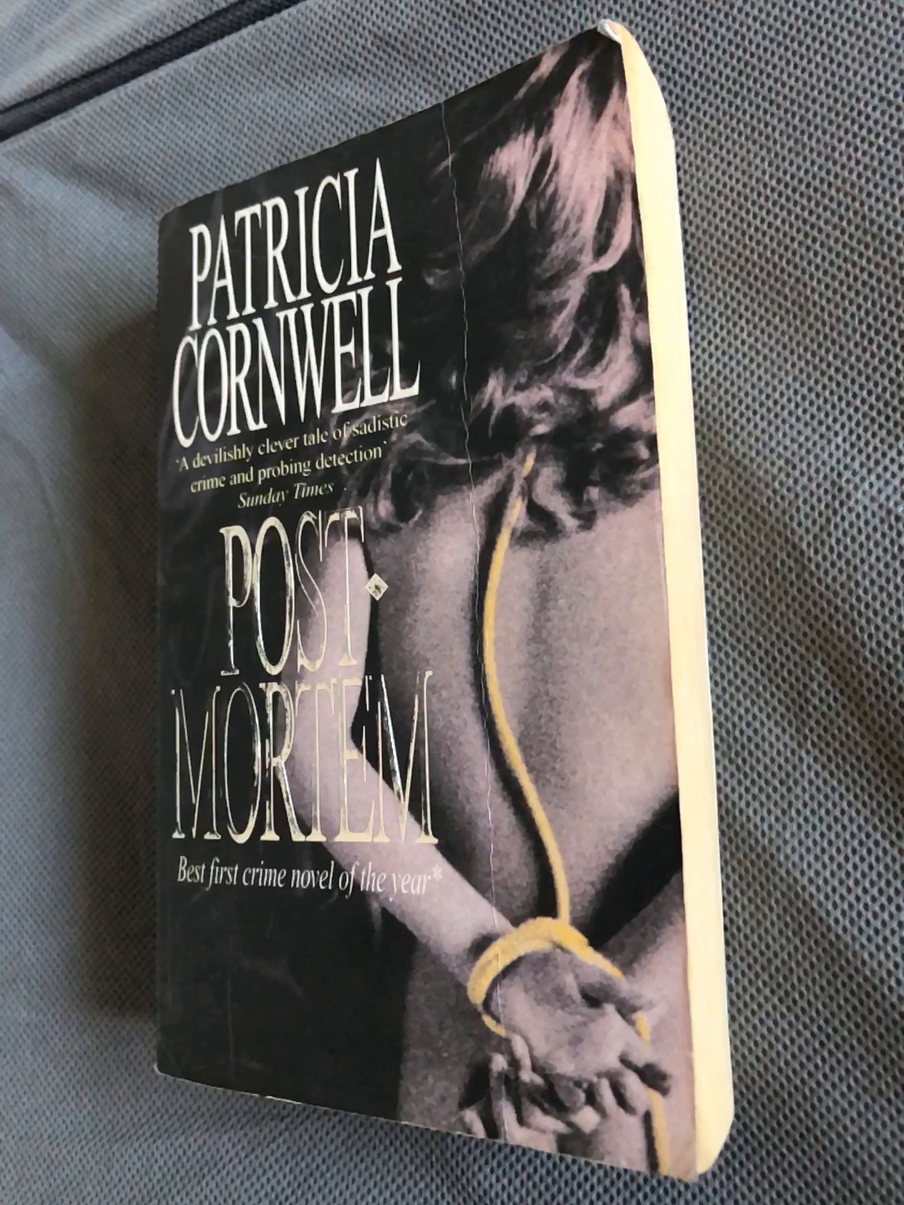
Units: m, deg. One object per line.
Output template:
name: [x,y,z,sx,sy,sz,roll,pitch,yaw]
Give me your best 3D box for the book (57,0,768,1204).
book: [-0.010,-0.005,0.185,0.110,0.050,0.180,-6,80,28]
